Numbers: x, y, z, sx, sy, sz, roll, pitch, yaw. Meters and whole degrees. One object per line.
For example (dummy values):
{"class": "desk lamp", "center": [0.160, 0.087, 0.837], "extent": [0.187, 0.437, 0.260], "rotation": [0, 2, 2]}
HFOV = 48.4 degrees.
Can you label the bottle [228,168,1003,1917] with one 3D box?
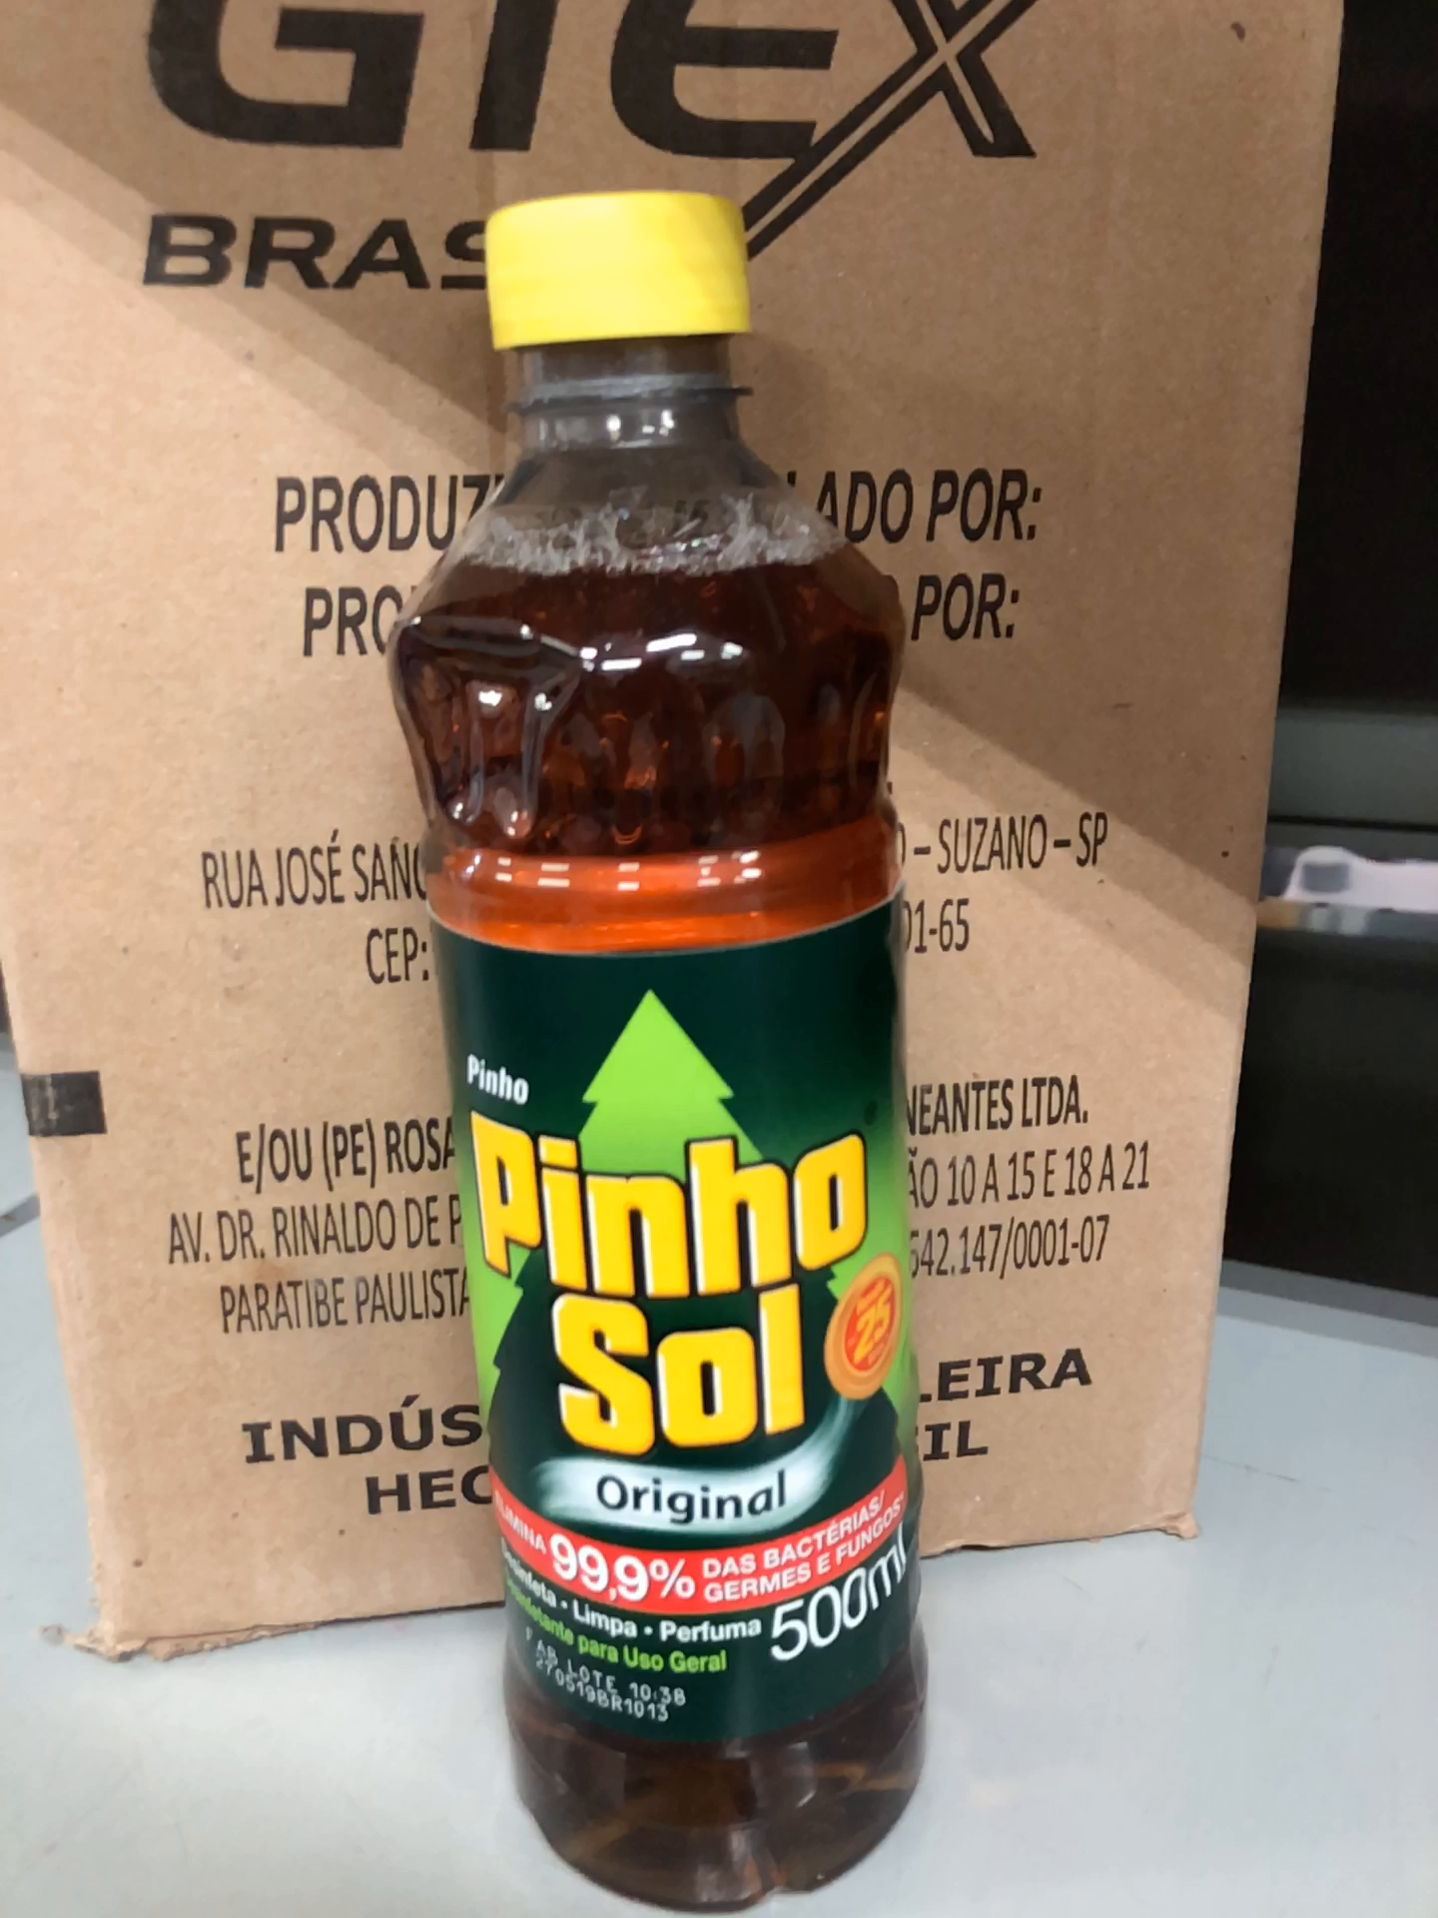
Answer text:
{"class": "bottle", "center": [-0.008, 0.022, 0.209], "extent": [0.070, 0.219, 0.060], "rotation": [-3, 19, -3]}
